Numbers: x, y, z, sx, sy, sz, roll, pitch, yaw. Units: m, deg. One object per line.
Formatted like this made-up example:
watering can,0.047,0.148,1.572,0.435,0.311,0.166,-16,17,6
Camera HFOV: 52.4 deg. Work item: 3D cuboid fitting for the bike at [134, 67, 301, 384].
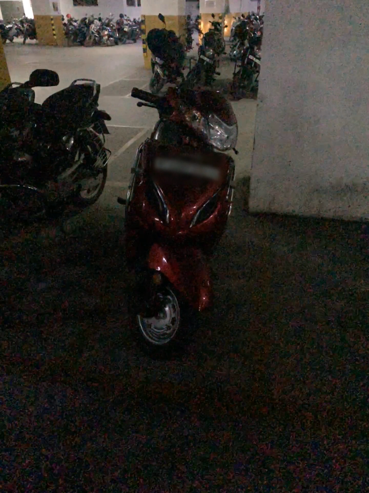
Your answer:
bike,0.056,-0.233,2.057,0.486,0.908,1.398,-5,40,-8
